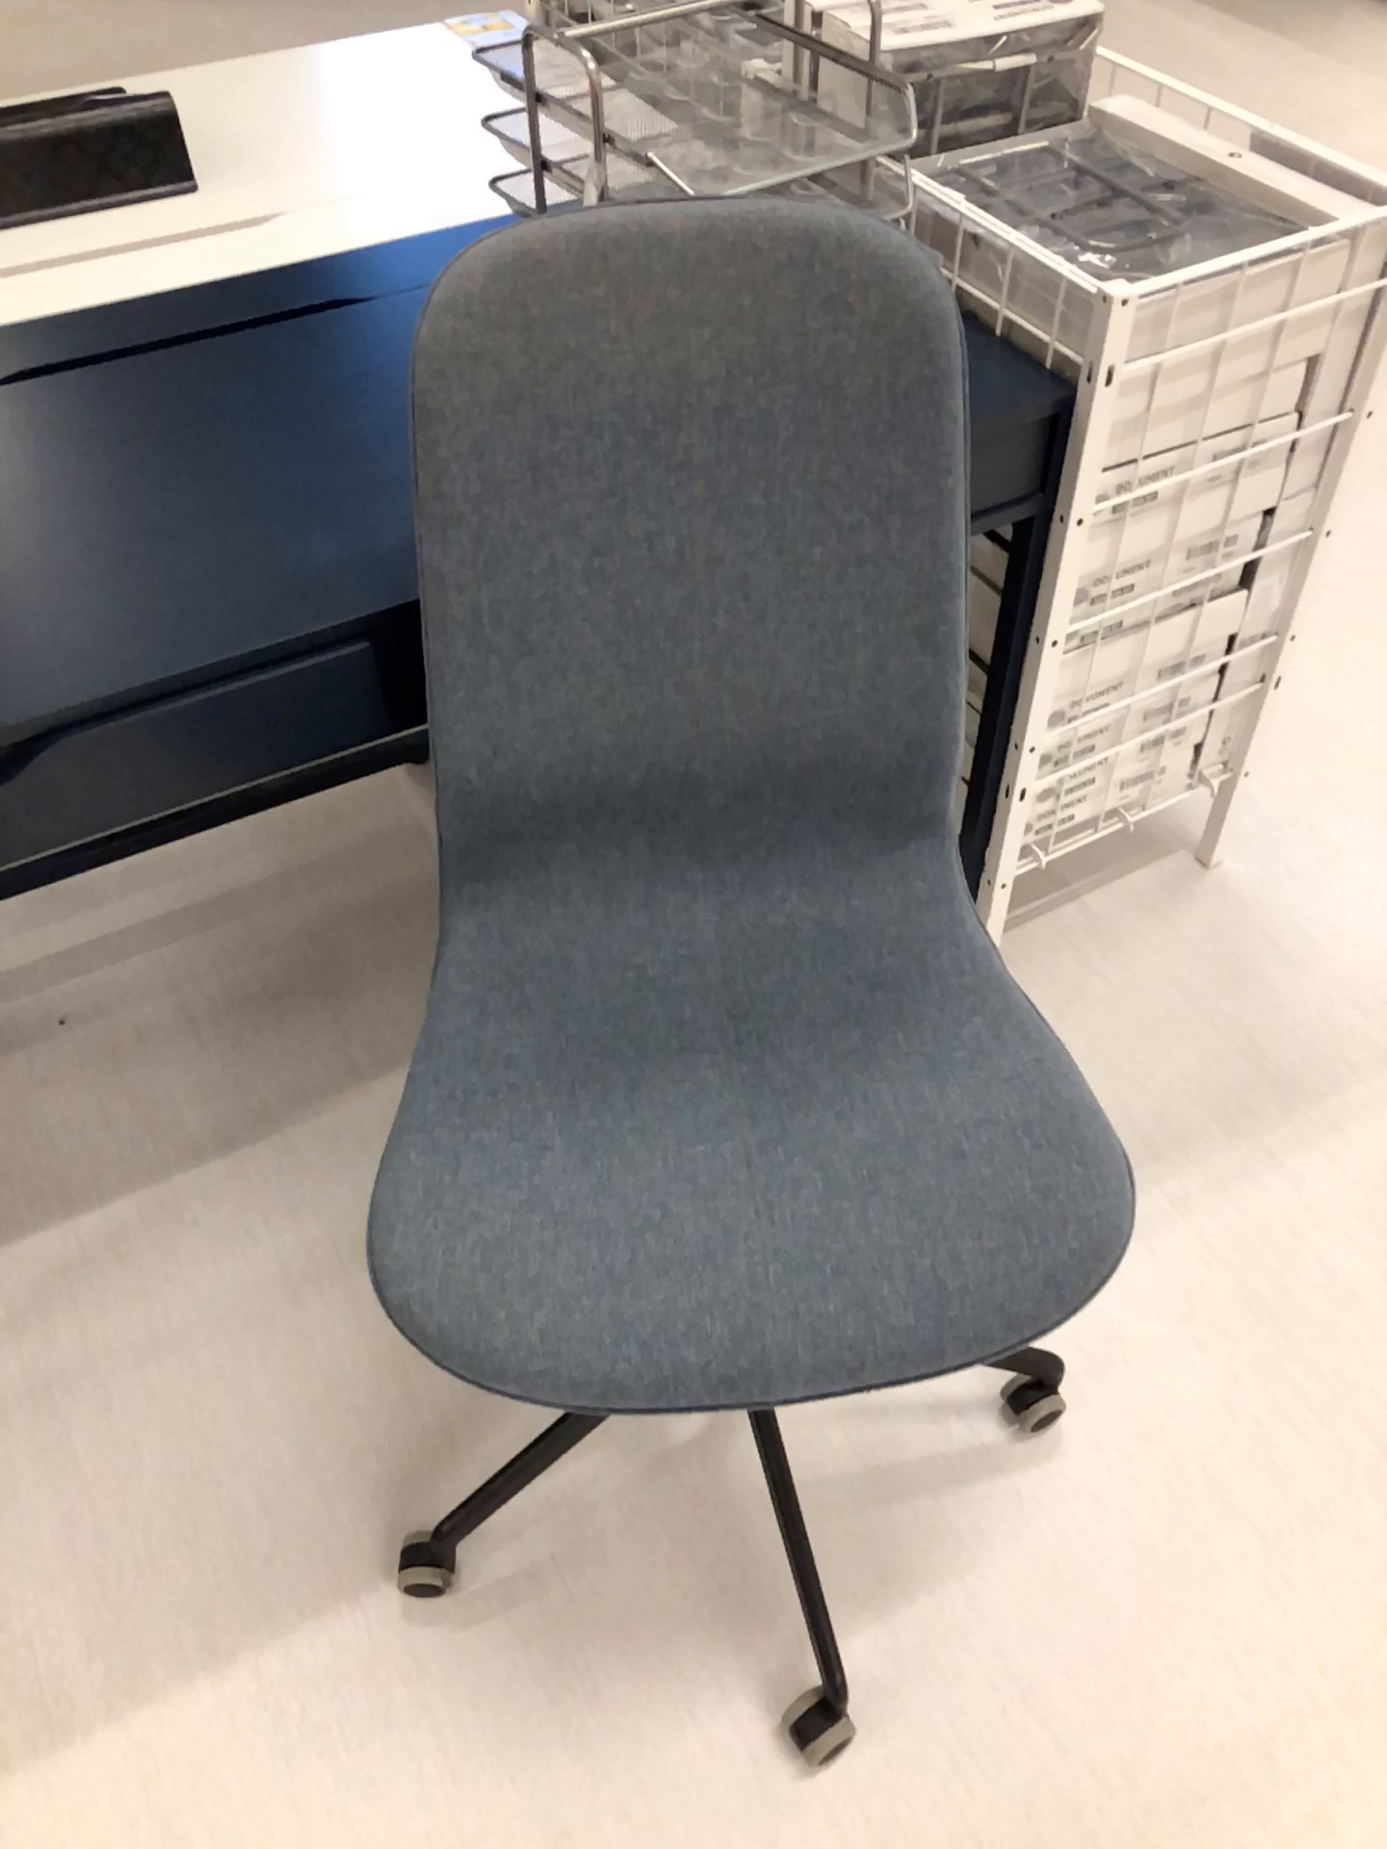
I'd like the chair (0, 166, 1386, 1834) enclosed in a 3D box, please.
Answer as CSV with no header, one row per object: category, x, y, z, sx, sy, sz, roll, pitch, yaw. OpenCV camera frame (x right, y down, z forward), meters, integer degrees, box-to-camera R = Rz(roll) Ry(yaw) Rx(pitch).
chair,0.031,0.101,1.067,0.640,0.934,0.684,-4,47,-3
